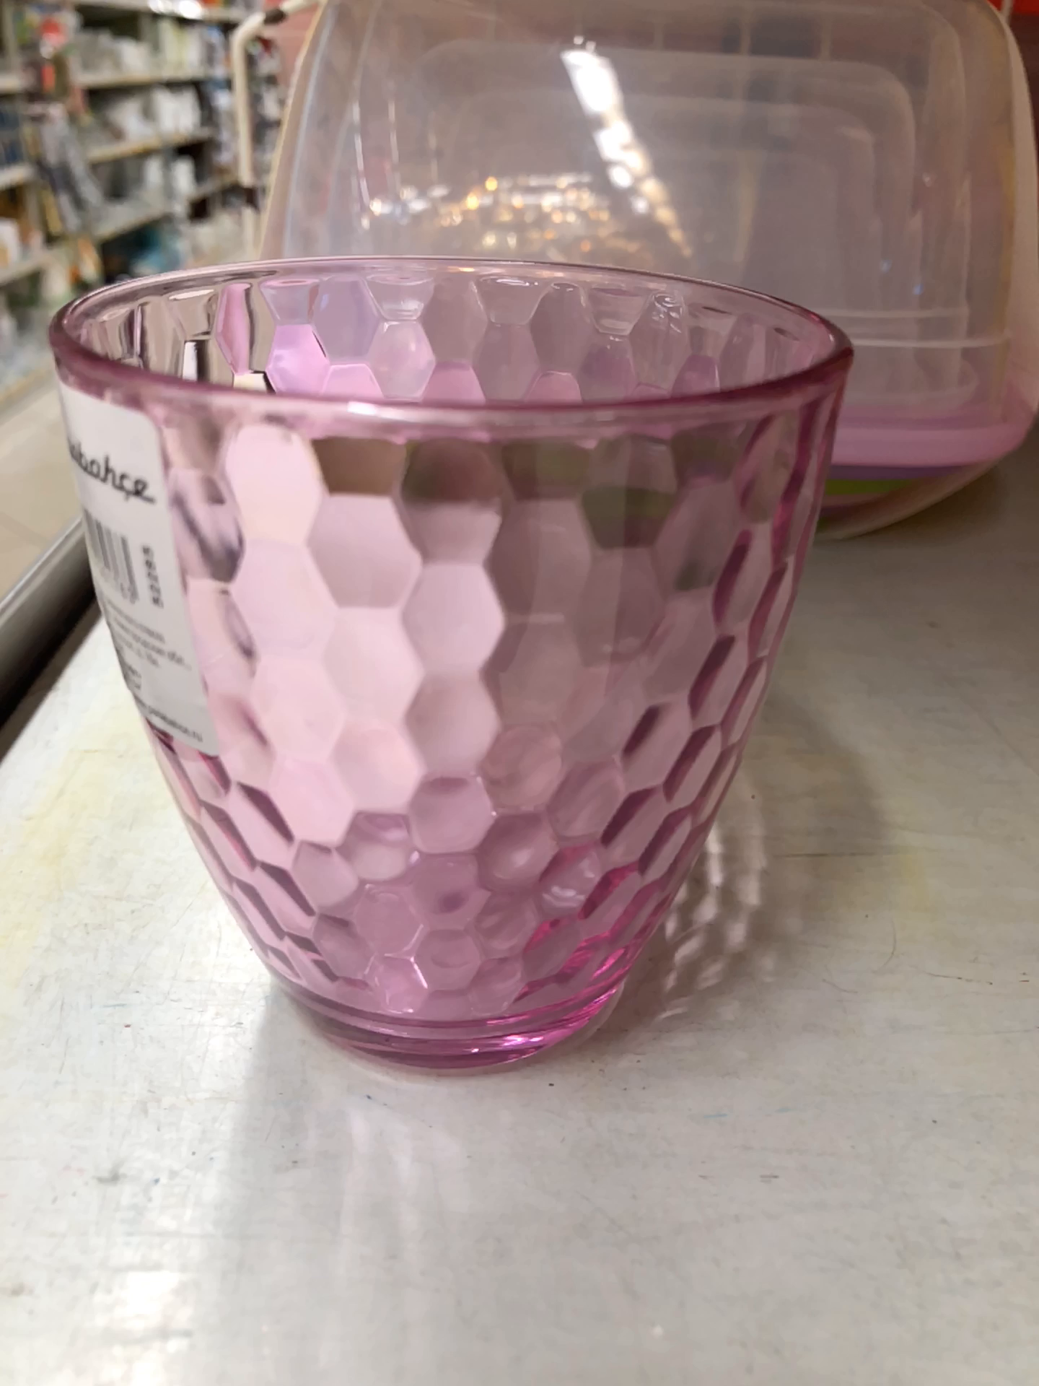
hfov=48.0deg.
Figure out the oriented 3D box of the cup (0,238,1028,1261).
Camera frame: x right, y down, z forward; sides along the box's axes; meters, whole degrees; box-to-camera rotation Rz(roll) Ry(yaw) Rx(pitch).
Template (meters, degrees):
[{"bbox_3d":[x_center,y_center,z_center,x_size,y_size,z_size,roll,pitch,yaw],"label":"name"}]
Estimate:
[{"bbox_3d":[-0.011,-0.007,0.138,0.078,0.074,0.090,-8,29,-16],"label":"cup"}]
